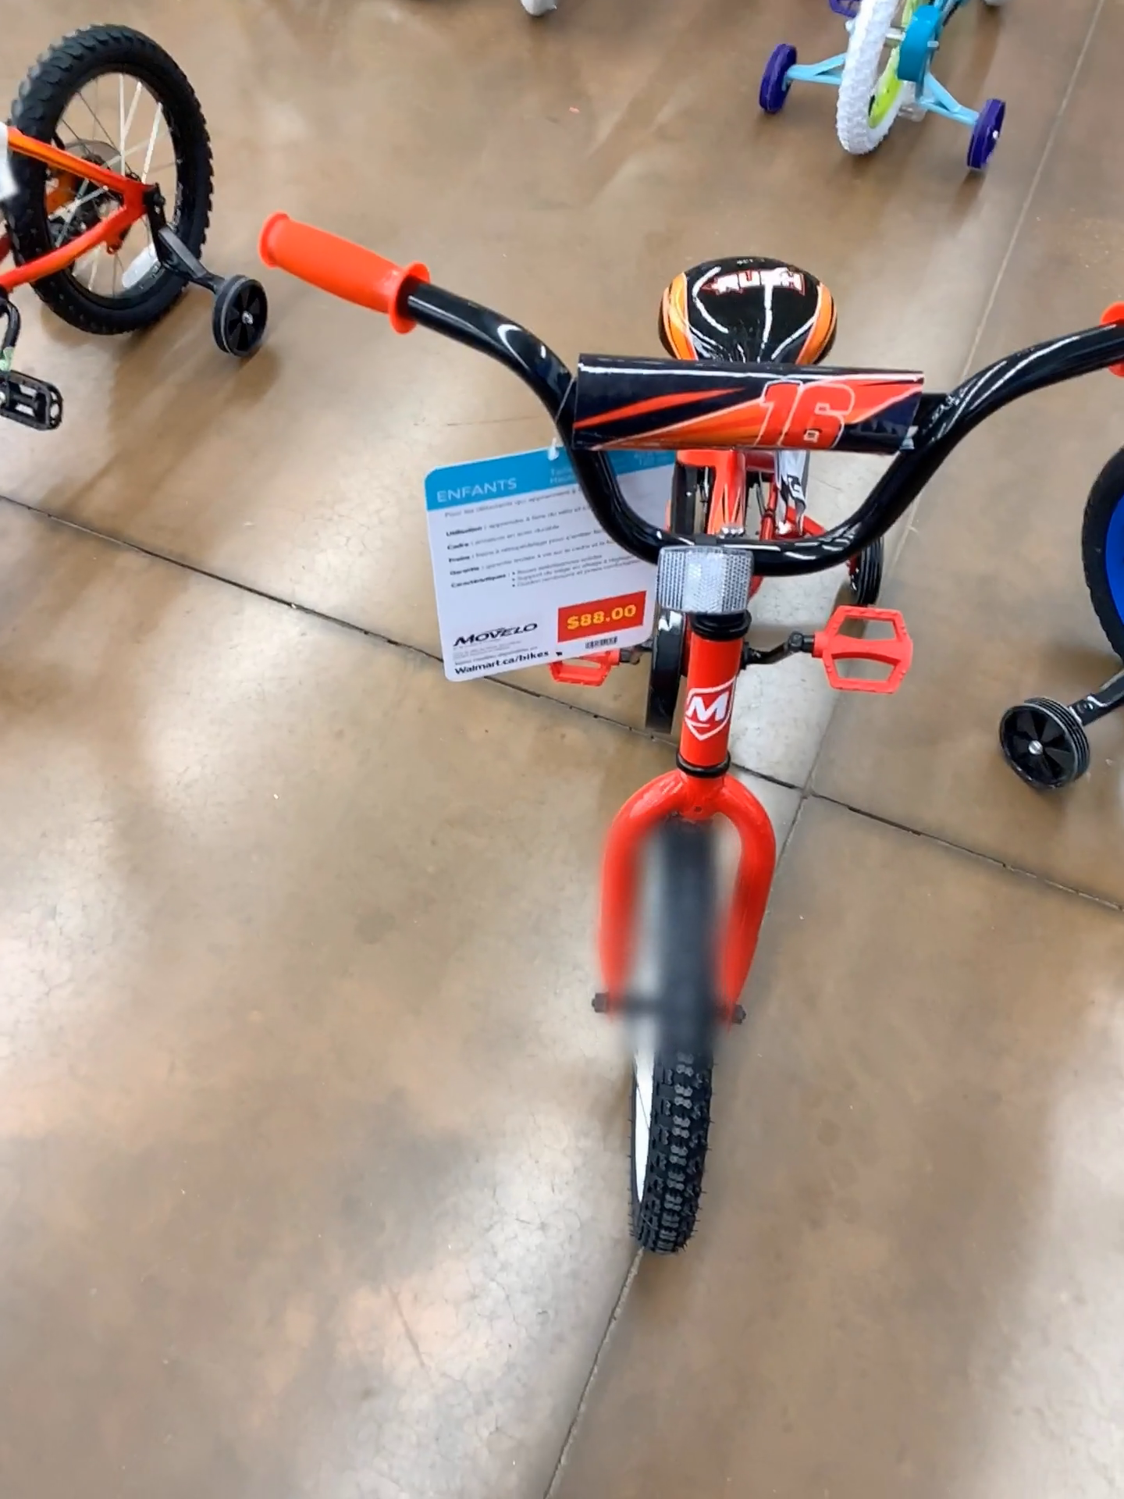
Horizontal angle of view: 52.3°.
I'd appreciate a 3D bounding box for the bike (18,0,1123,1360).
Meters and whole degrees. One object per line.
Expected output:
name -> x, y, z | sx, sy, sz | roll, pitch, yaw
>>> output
bike -> 0.162, -0.165, 1.054 | 0.515, 0.954, 1.146 | 5, 53, 3
